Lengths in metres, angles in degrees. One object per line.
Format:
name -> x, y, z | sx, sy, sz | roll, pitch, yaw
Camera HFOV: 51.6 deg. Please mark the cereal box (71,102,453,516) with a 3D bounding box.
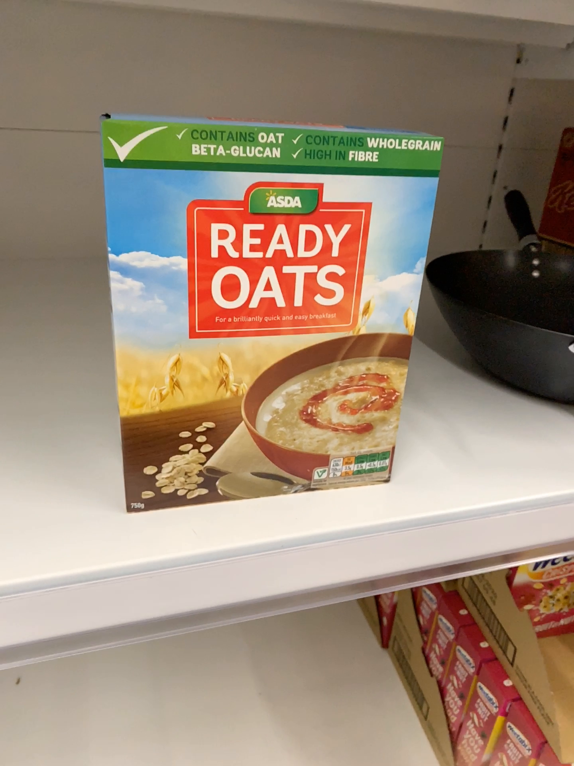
cereal box -> -0.023, -0.049, 0.422 | 0.220, 0.258, 0.081 | -4, 27, -16
